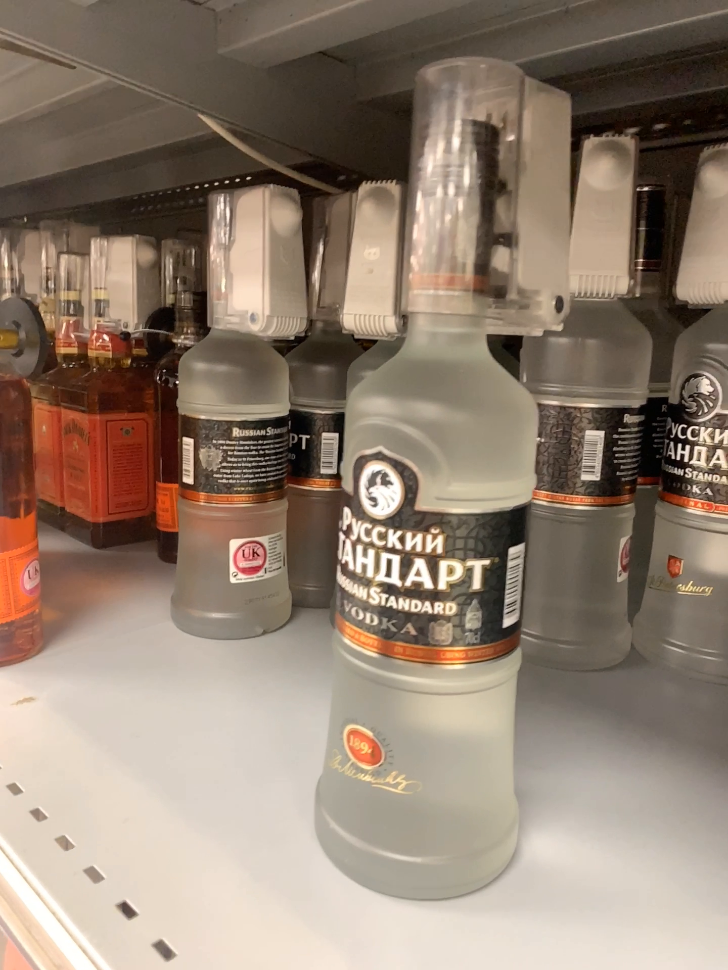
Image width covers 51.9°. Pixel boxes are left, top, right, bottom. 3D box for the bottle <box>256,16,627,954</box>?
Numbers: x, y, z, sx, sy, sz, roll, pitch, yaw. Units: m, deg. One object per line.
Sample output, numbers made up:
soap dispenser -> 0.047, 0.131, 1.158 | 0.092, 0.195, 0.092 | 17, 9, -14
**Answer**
bottle -> 0.023, 0.003, 0.289 | 0.088, 0.289, 0.092 | 2, 10, 0
